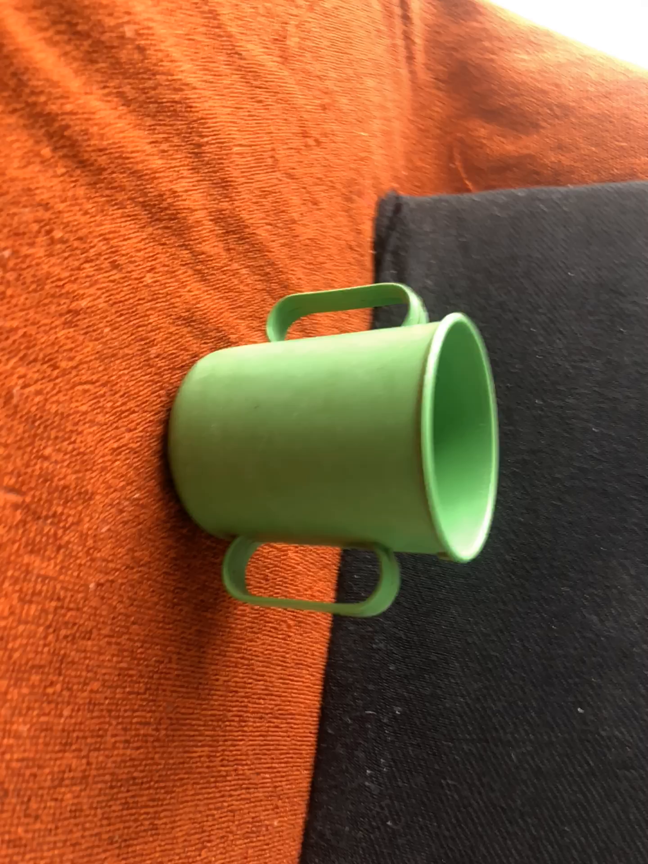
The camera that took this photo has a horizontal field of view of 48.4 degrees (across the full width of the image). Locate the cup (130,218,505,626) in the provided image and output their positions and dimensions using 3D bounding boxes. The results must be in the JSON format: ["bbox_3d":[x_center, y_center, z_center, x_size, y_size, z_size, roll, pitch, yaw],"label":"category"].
[{"bbox_3d":[0.006,0.004,0.225,0.081,0.079,0.100,32,61,-61],"label":"cup"}]
